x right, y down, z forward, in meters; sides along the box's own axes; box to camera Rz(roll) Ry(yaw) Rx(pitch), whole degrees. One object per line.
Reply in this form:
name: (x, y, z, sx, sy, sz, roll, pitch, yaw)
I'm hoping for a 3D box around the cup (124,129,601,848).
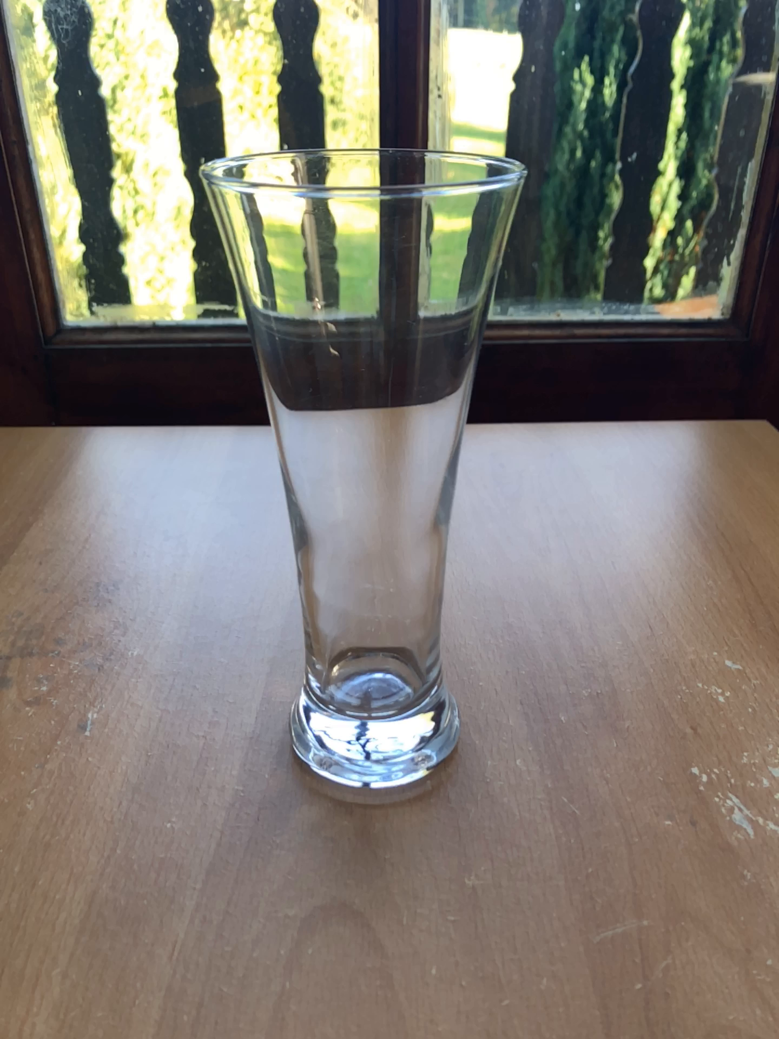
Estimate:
cup: (-0.007, -0.013, 0.240, 0.082, 0.168, 0.077, 1, 27, -1)
